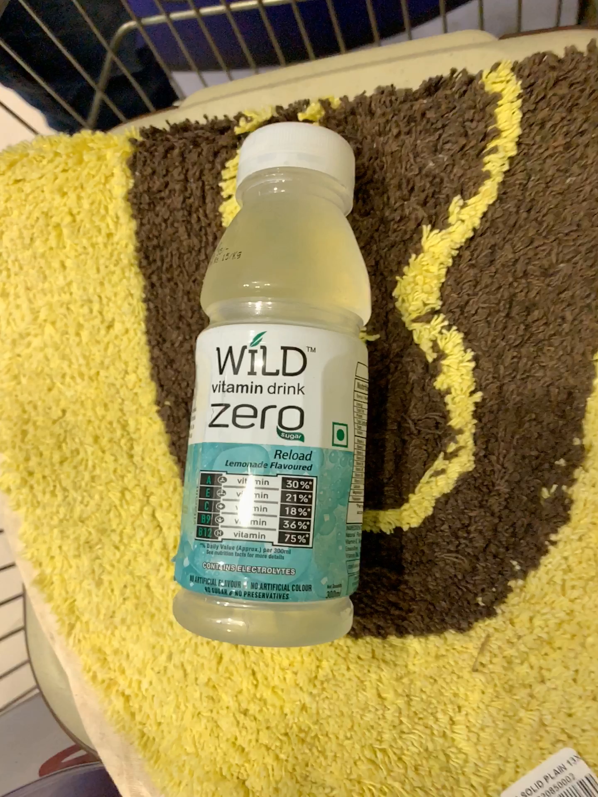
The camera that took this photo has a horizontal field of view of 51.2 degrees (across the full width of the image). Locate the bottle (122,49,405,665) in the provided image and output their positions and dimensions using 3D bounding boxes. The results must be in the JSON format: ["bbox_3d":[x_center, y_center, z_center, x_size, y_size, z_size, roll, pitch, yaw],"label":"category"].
[{"bbox_3d":[-0.006,-0.014,0.186,0.060,0.040,0.160,1,80,19],"label":"bottle"}]
